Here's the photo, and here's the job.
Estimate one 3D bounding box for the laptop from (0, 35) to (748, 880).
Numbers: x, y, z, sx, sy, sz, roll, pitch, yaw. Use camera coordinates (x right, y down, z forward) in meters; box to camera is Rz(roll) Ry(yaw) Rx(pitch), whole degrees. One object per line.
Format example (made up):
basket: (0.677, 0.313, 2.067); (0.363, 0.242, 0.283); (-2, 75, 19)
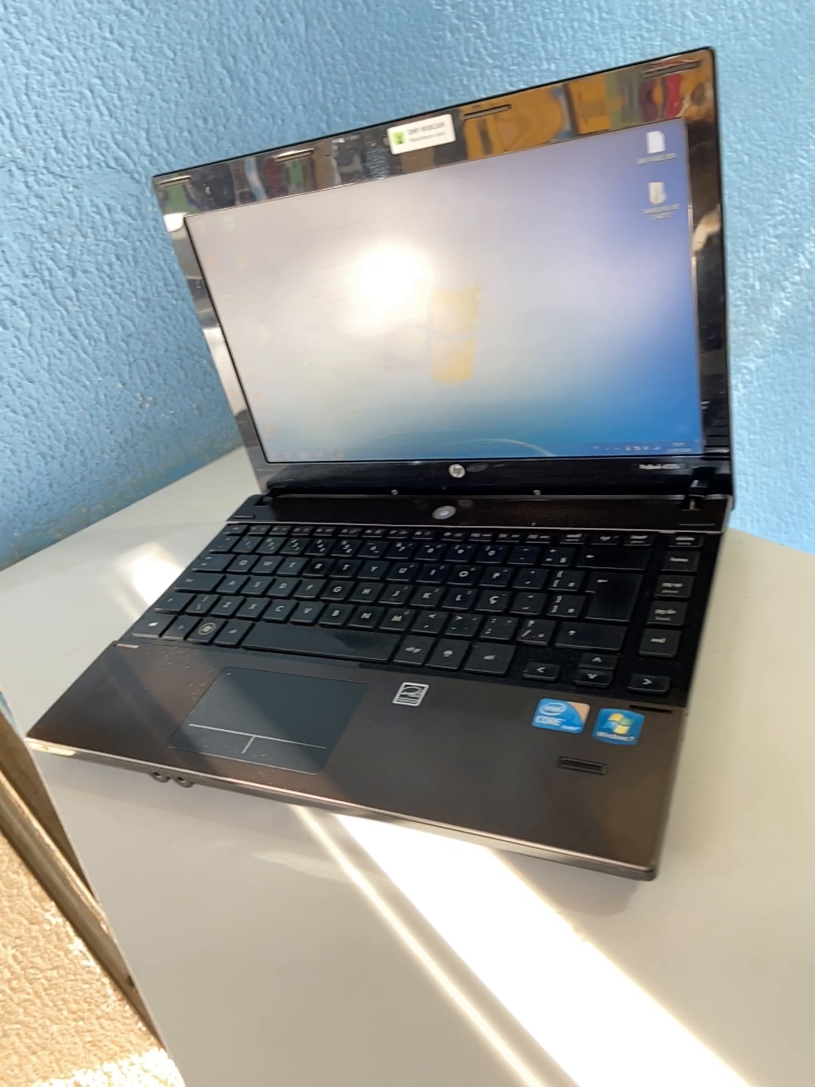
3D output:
laptop: (-0.034, -0.055, 0.397); (0.322, 0.207, 0.260); (1, 36, 30)
